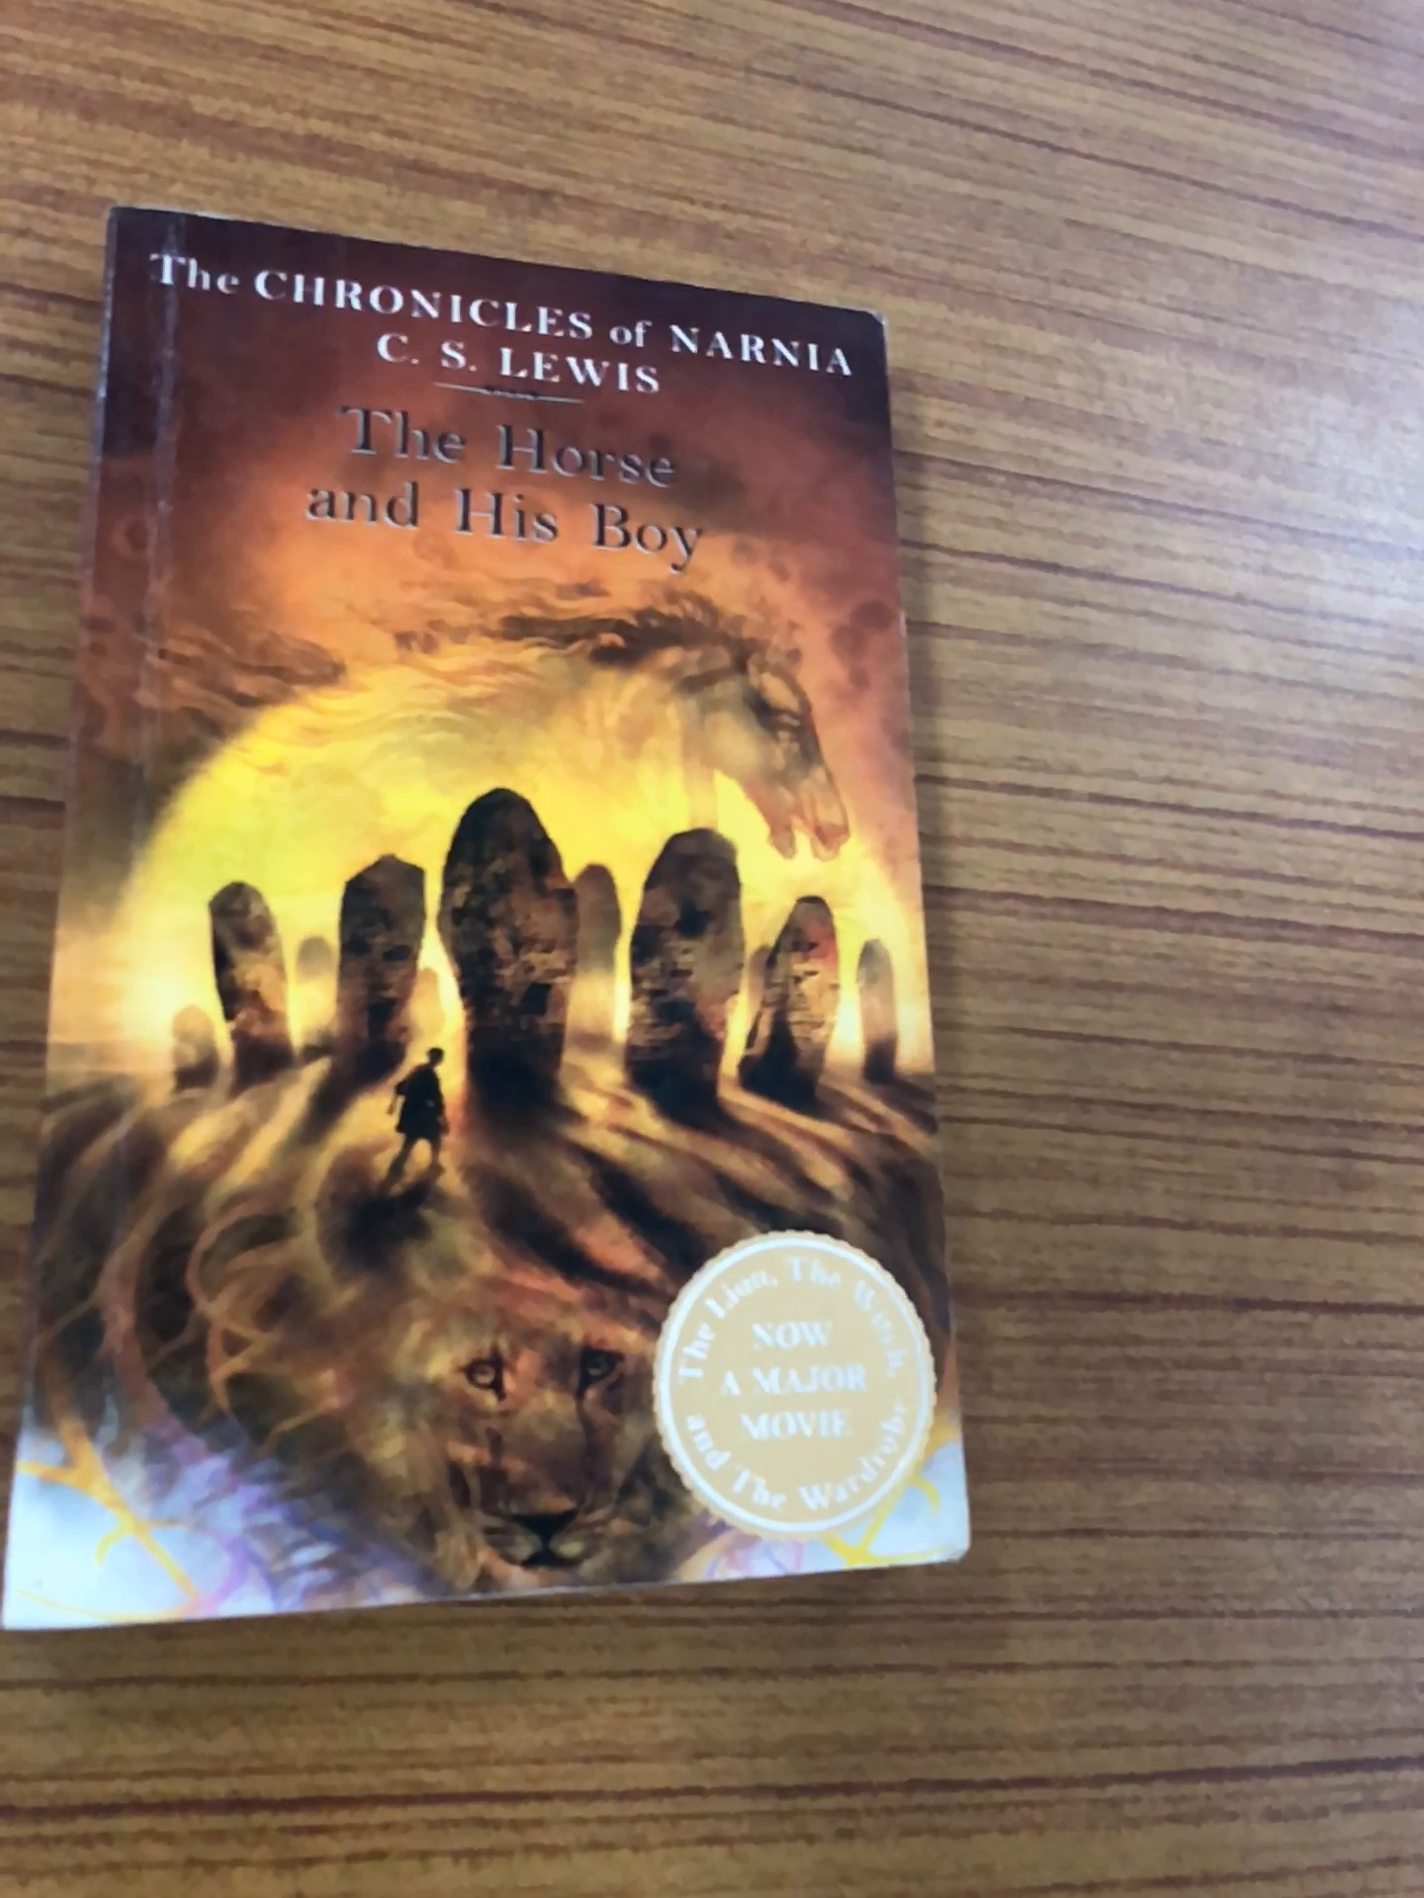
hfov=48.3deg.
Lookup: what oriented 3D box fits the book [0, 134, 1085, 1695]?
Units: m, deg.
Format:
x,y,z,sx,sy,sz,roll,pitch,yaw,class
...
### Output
x,y,z,sx,sy,sz,roll,pitch,yaw,class
-0.019,-0.010,0.202,0.120,0.020,0.180,3,75,-16,book
